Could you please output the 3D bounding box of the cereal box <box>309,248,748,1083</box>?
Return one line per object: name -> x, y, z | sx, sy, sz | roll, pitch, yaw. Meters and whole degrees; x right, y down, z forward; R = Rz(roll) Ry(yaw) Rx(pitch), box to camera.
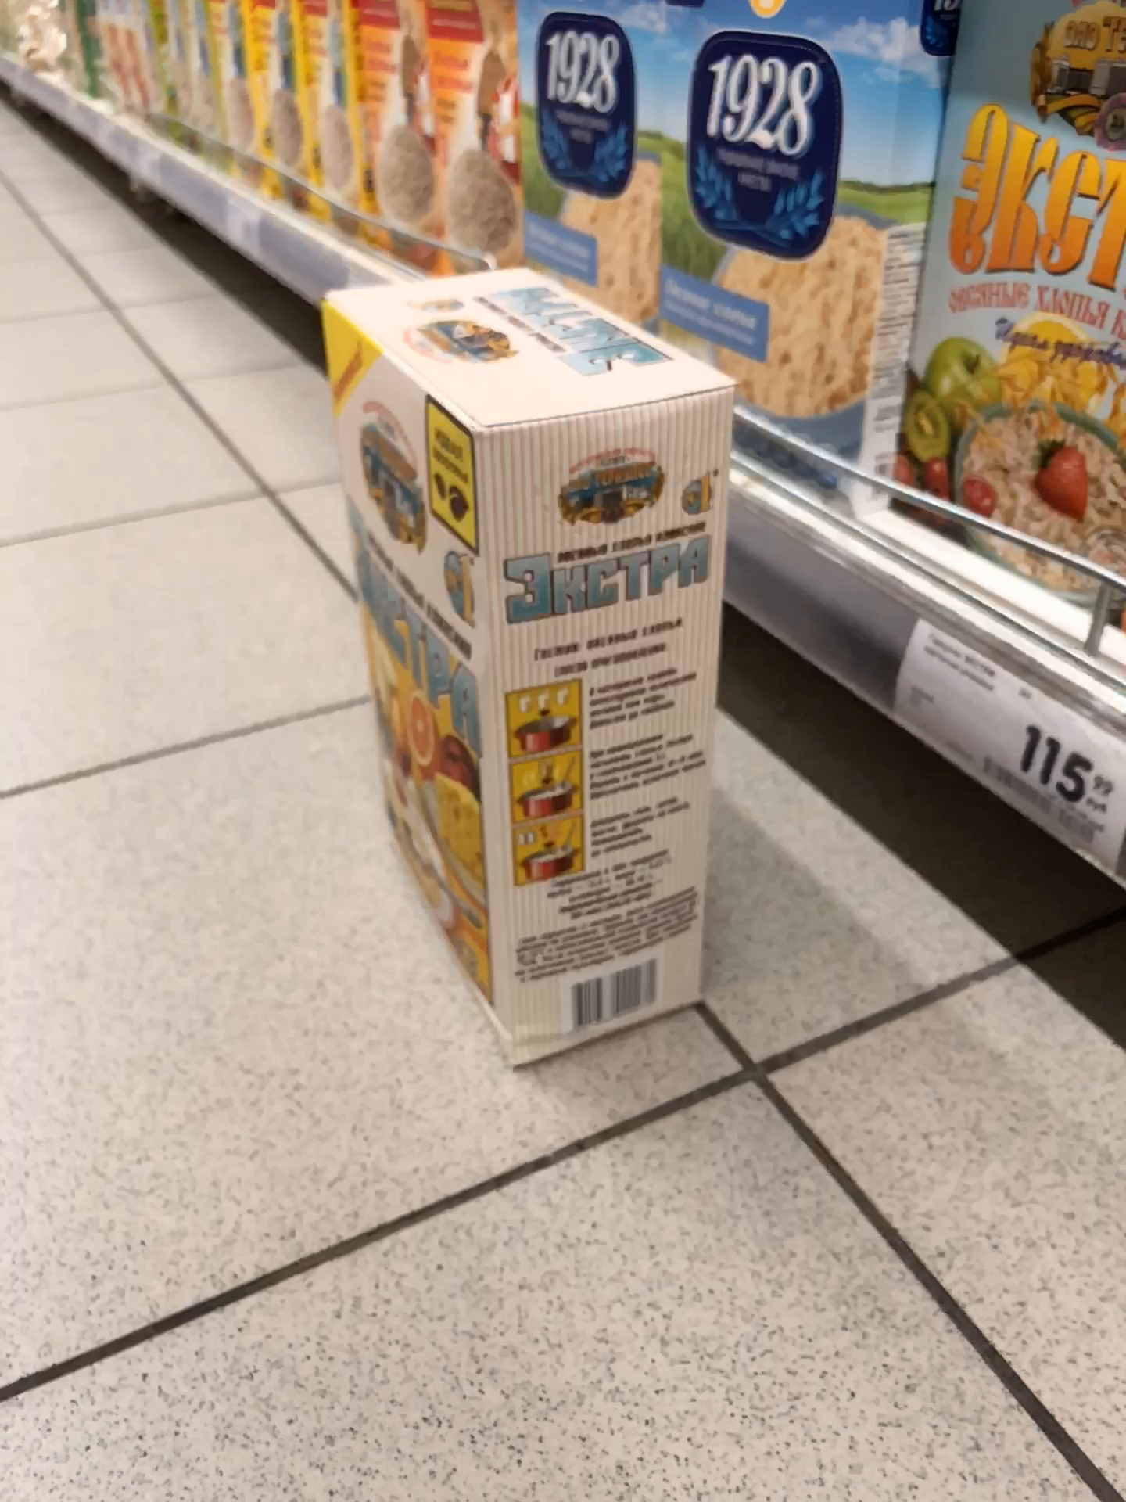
cereal box -> -0.016, -0.032, 0.442 | 0.080, 0.239, 0.151 | -14, 35, -19
